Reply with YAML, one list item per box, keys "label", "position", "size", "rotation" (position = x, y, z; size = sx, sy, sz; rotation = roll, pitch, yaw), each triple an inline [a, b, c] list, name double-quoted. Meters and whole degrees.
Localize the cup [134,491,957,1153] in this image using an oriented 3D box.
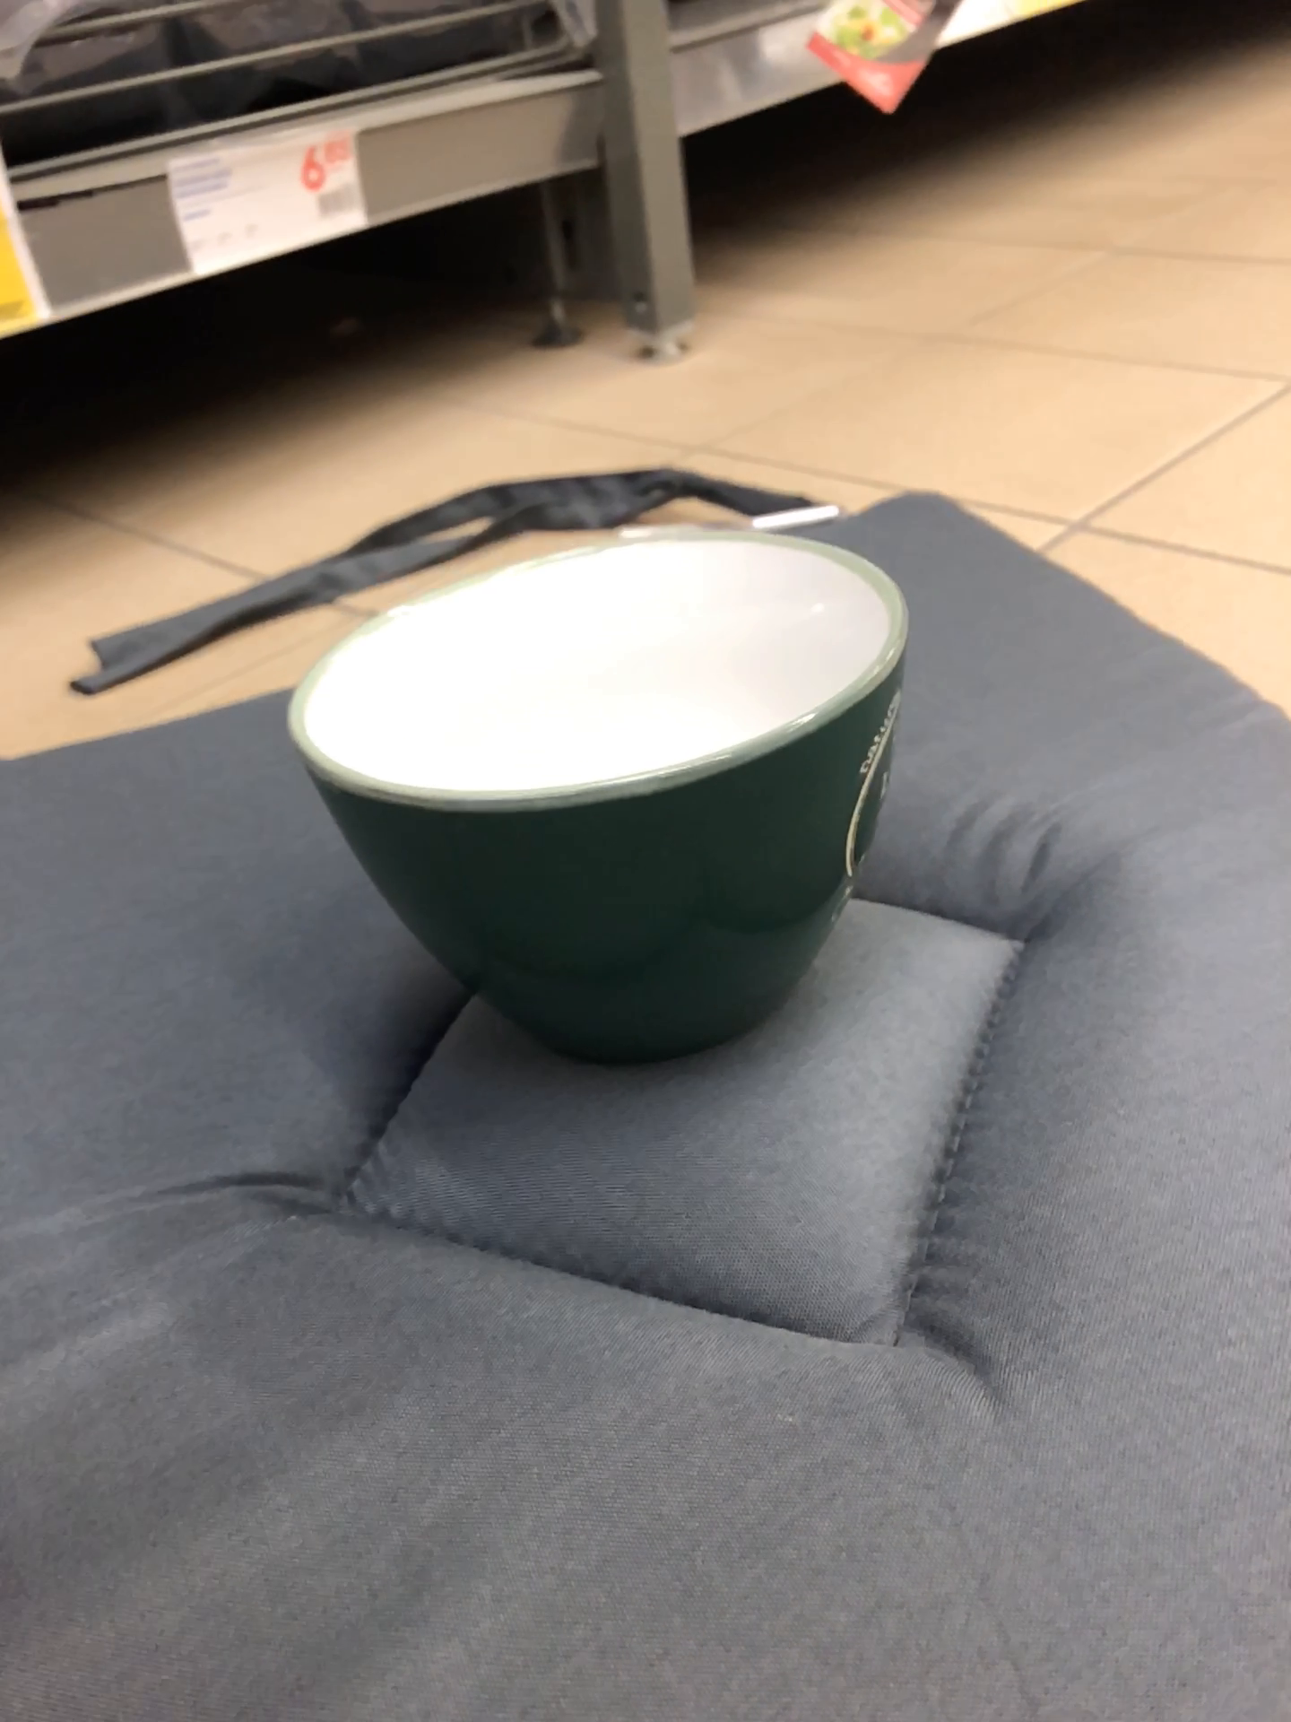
- label: "cup"
  position: [-0.004, -0.018, 0.280]
  size: [0.120, 0.060, 0.131]
  rotation: [-5, 34, 4]
